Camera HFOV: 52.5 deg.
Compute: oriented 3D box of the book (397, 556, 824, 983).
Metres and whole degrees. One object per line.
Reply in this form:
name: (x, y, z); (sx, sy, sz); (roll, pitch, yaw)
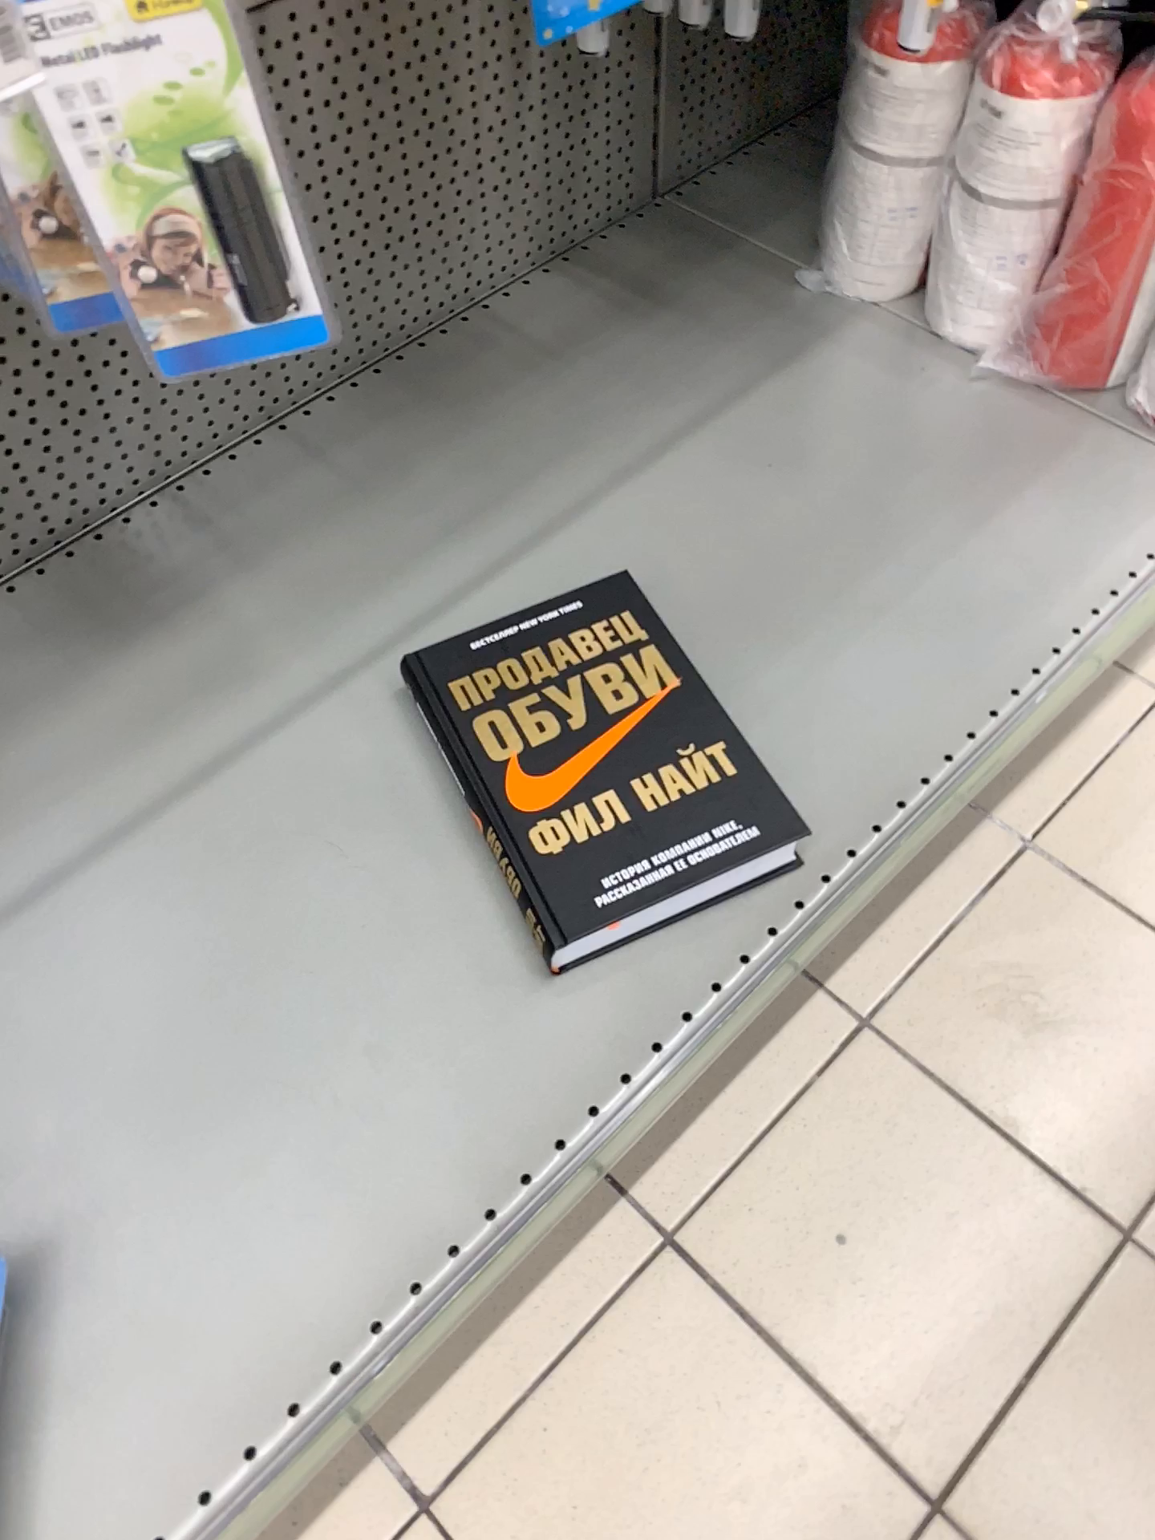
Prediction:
book: (0.012, -0.013, 0.736); (0.170, 0.042, 0.251); (-22, 56, -13)
